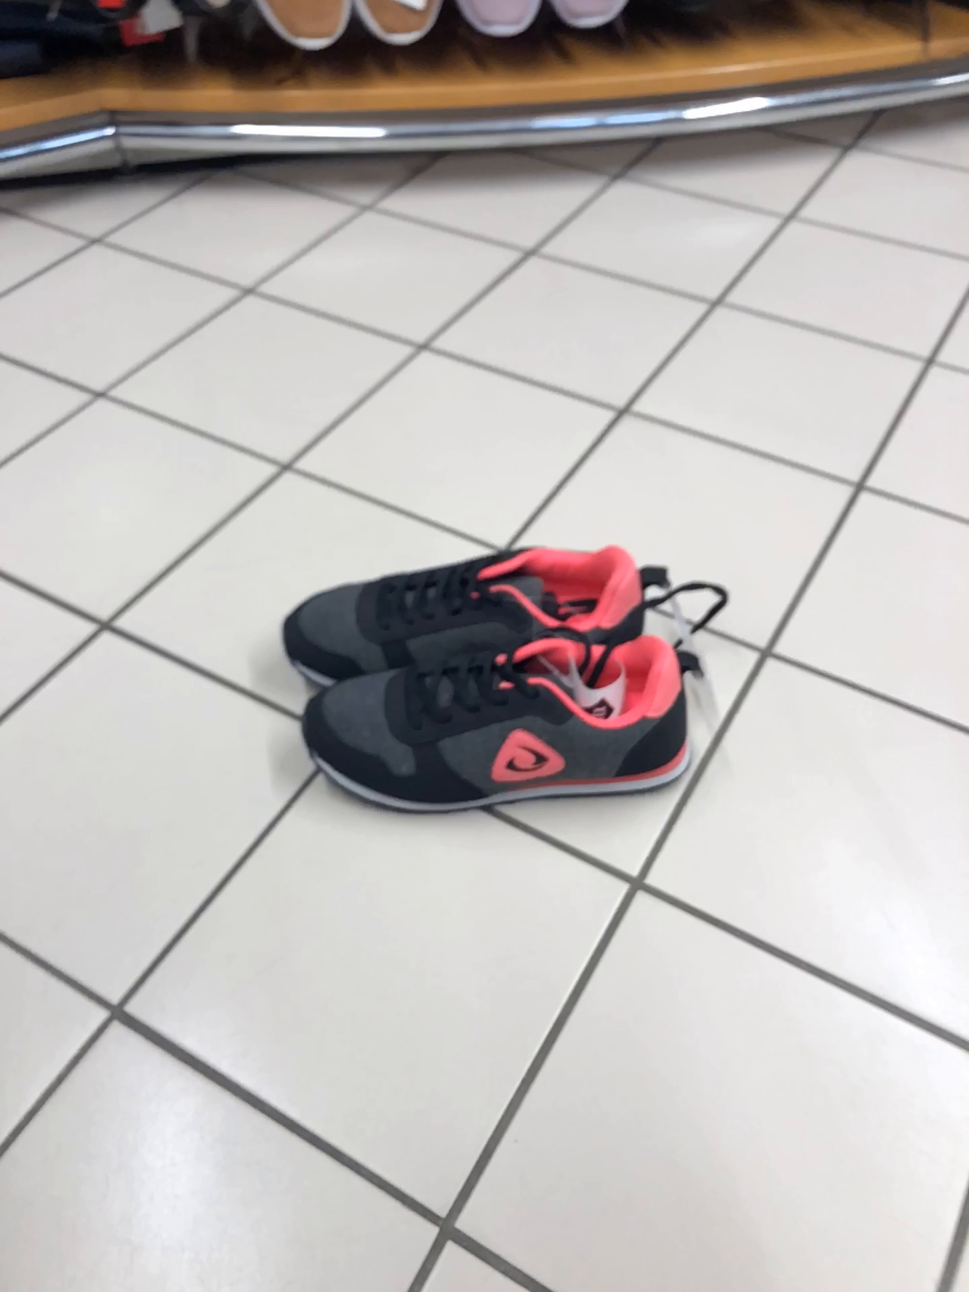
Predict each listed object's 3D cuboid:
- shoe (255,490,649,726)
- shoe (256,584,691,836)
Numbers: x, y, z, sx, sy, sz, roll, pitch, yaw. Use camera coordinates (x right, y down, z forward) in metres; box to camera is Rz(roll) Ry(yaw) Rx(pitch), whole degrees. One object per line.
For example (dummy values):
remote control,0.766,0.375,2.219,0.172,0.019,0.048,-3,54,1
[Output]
shoe,-0.020,-0.023,0.667,0.220,0.099,0.090,-3,47,-3
shoe,-0.007,0.037,0.611,0.220,0.099,0.091,-2,47,-2
